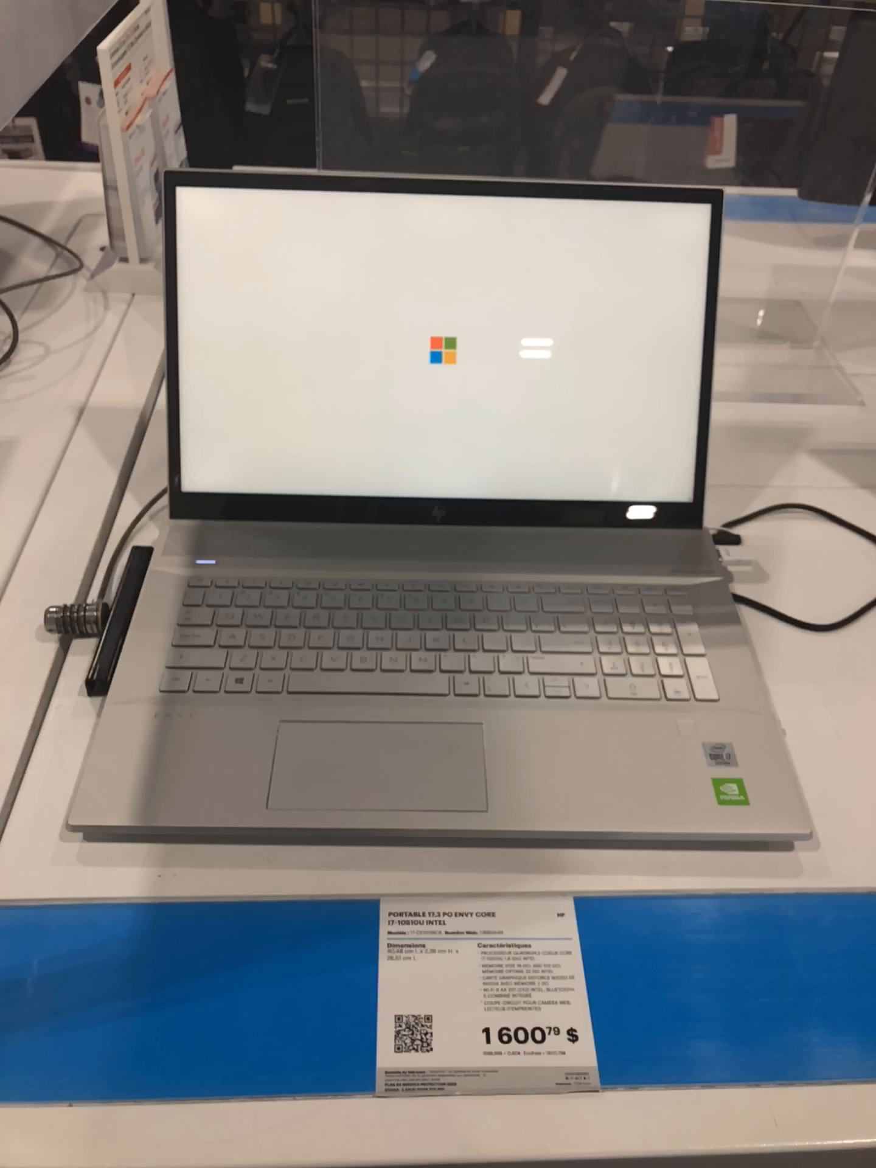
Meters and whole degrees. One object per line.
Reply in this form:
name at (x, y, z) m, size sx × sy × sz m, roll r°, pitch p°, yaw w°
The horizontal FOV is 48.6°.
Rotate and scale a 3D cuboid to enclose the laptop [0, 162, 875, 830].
laptop at (0.003, -0.080, 0.603) m, size 0.390 × 0.199 × 0.399 m, roll 1°, pitch 41°, yaw -3°
